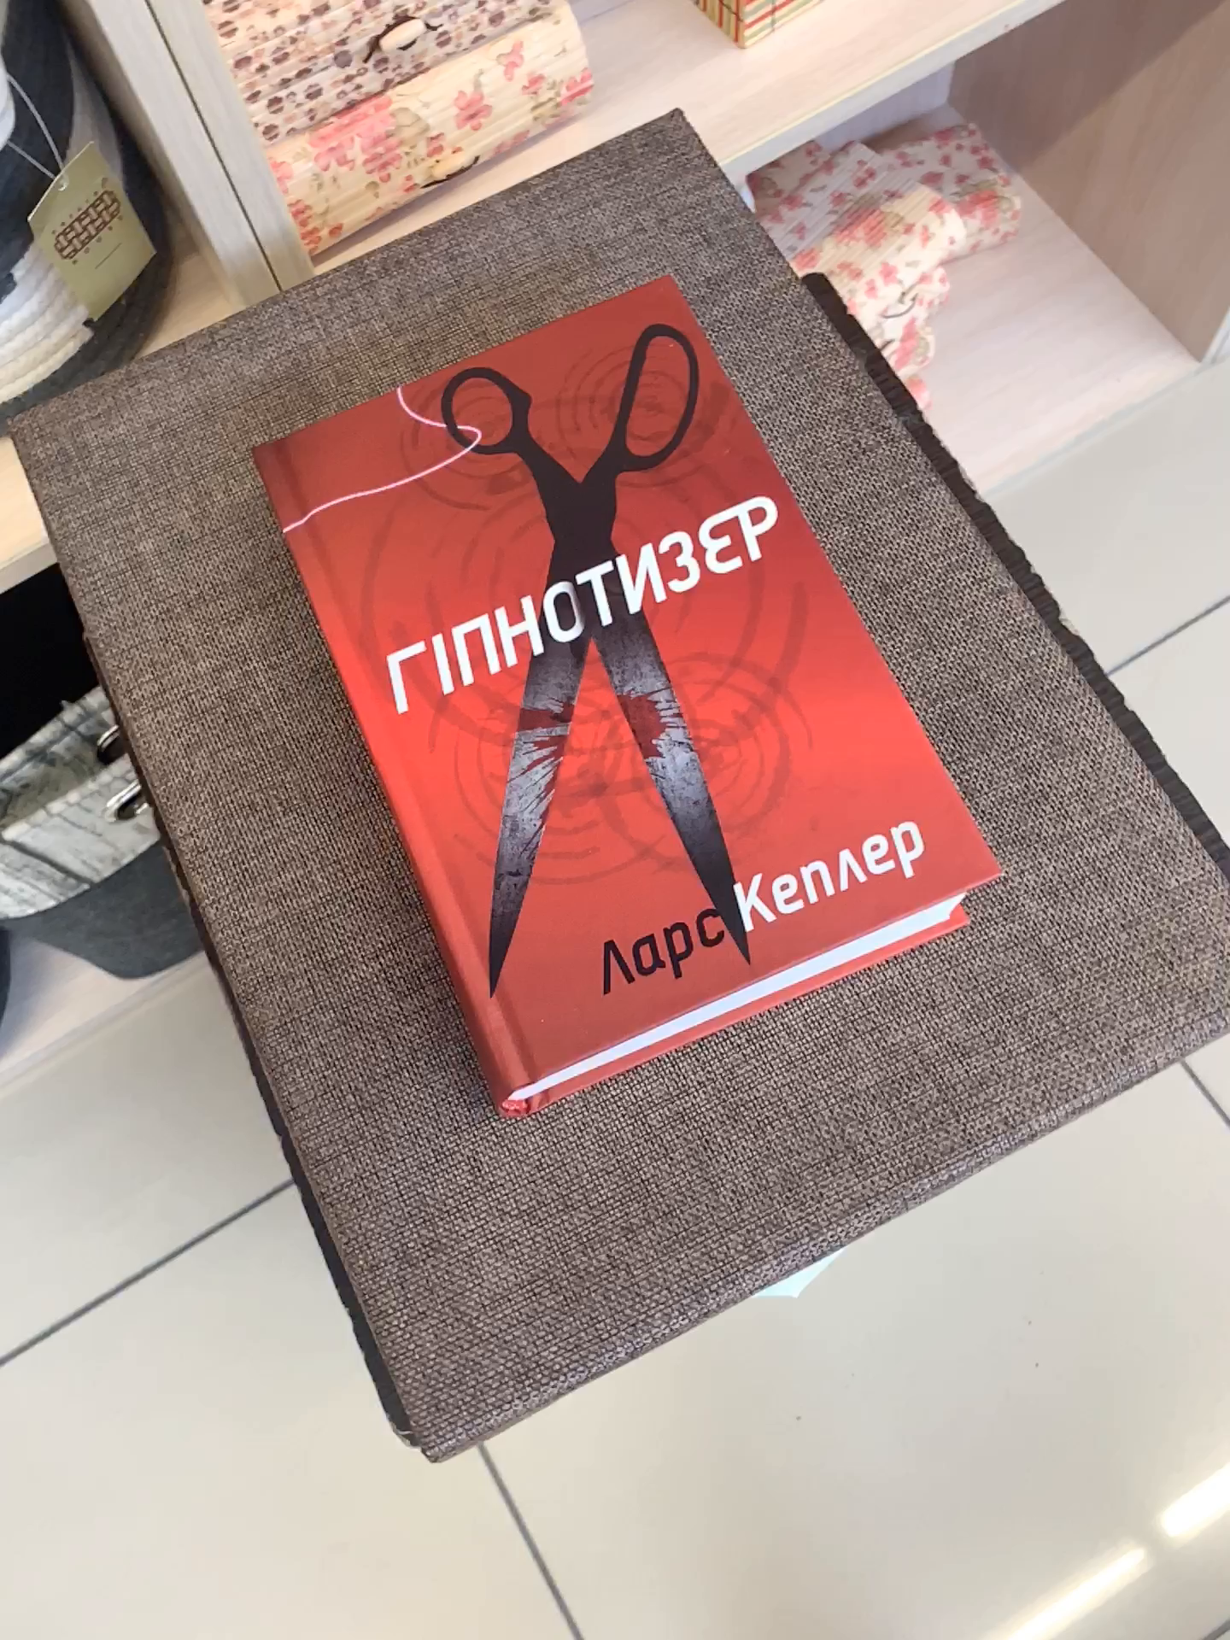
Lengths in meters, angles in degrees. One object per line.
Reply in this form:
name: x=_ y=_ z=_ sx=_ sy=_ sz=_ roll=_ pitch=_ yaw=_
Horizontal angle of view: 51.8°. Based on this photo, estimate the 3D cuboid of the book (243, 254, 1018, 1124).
book: x=-0.002 y=-0.037 z=0.346 sx=0.131 sy=0.060 sz=0.195 roll=-23 pitch=71 yaw=-1
